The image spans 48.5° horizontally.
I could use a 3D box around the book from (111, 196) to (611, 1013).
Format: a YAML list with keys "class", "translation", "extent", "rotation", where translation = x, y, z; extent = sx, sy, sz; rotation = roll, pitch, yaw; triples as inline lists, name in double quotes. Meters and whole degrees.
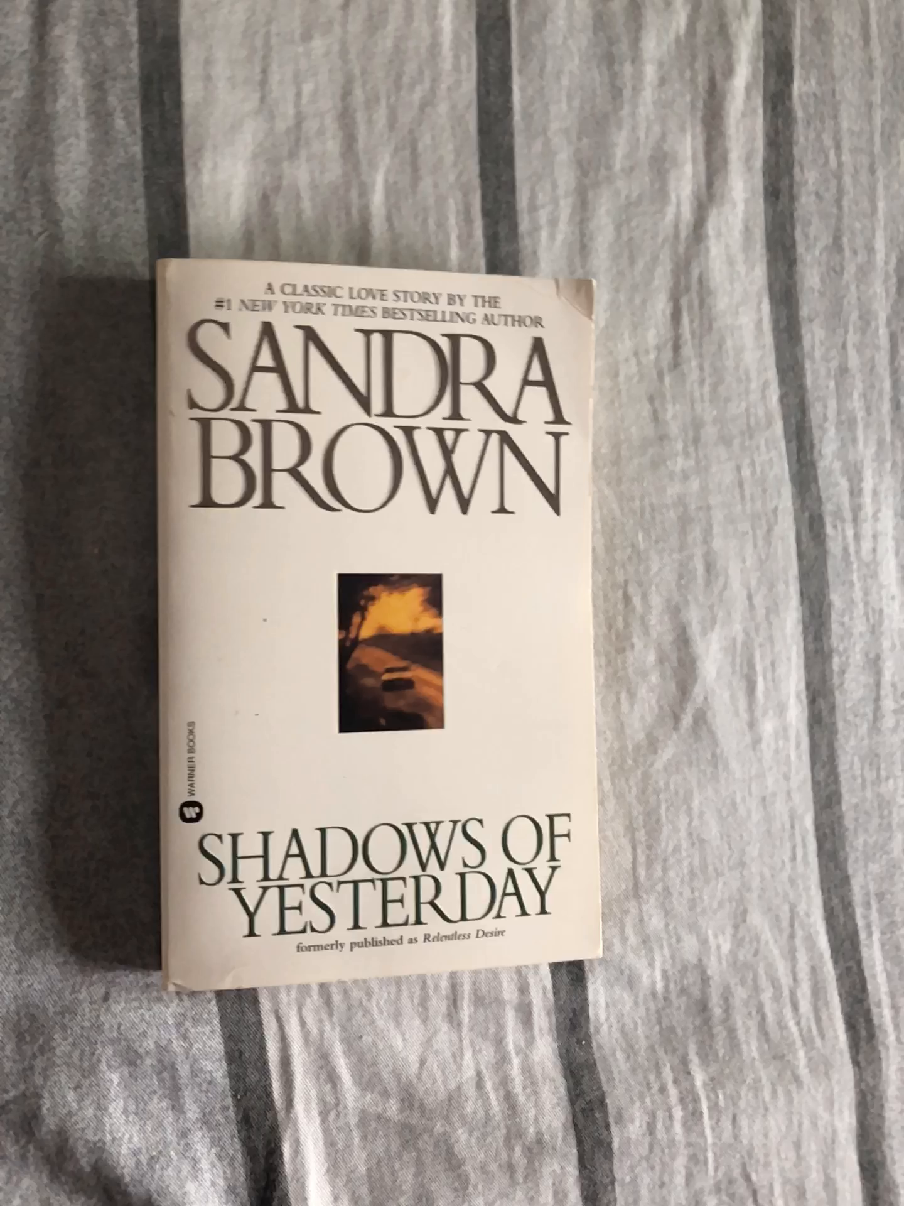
- class: "book"
  translation: [-0.021, 0.000, 0.253]
  extent: [0.120, 0.030, 0.180]
  rotation: [1, 89, -17]
